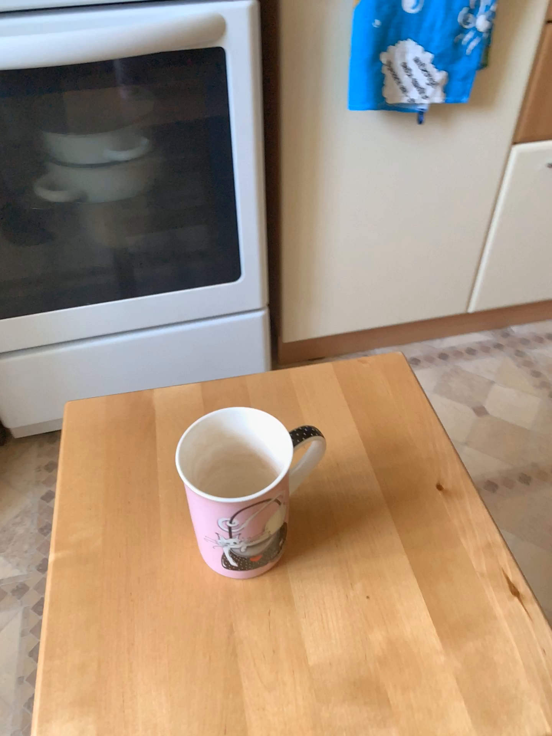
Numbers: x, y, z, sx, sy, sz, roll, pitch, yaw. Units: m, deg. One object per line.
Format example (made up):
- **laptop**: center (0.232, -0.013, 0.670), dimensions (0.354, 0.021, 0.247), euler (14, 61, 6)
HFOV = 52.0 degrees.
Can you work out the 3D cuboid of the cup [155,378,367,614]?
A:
- **cup**: center (-0.010, 0.086, 0.391), dimensions (0.110, 0.099, 0.081), euler (-21, 47, -20)
